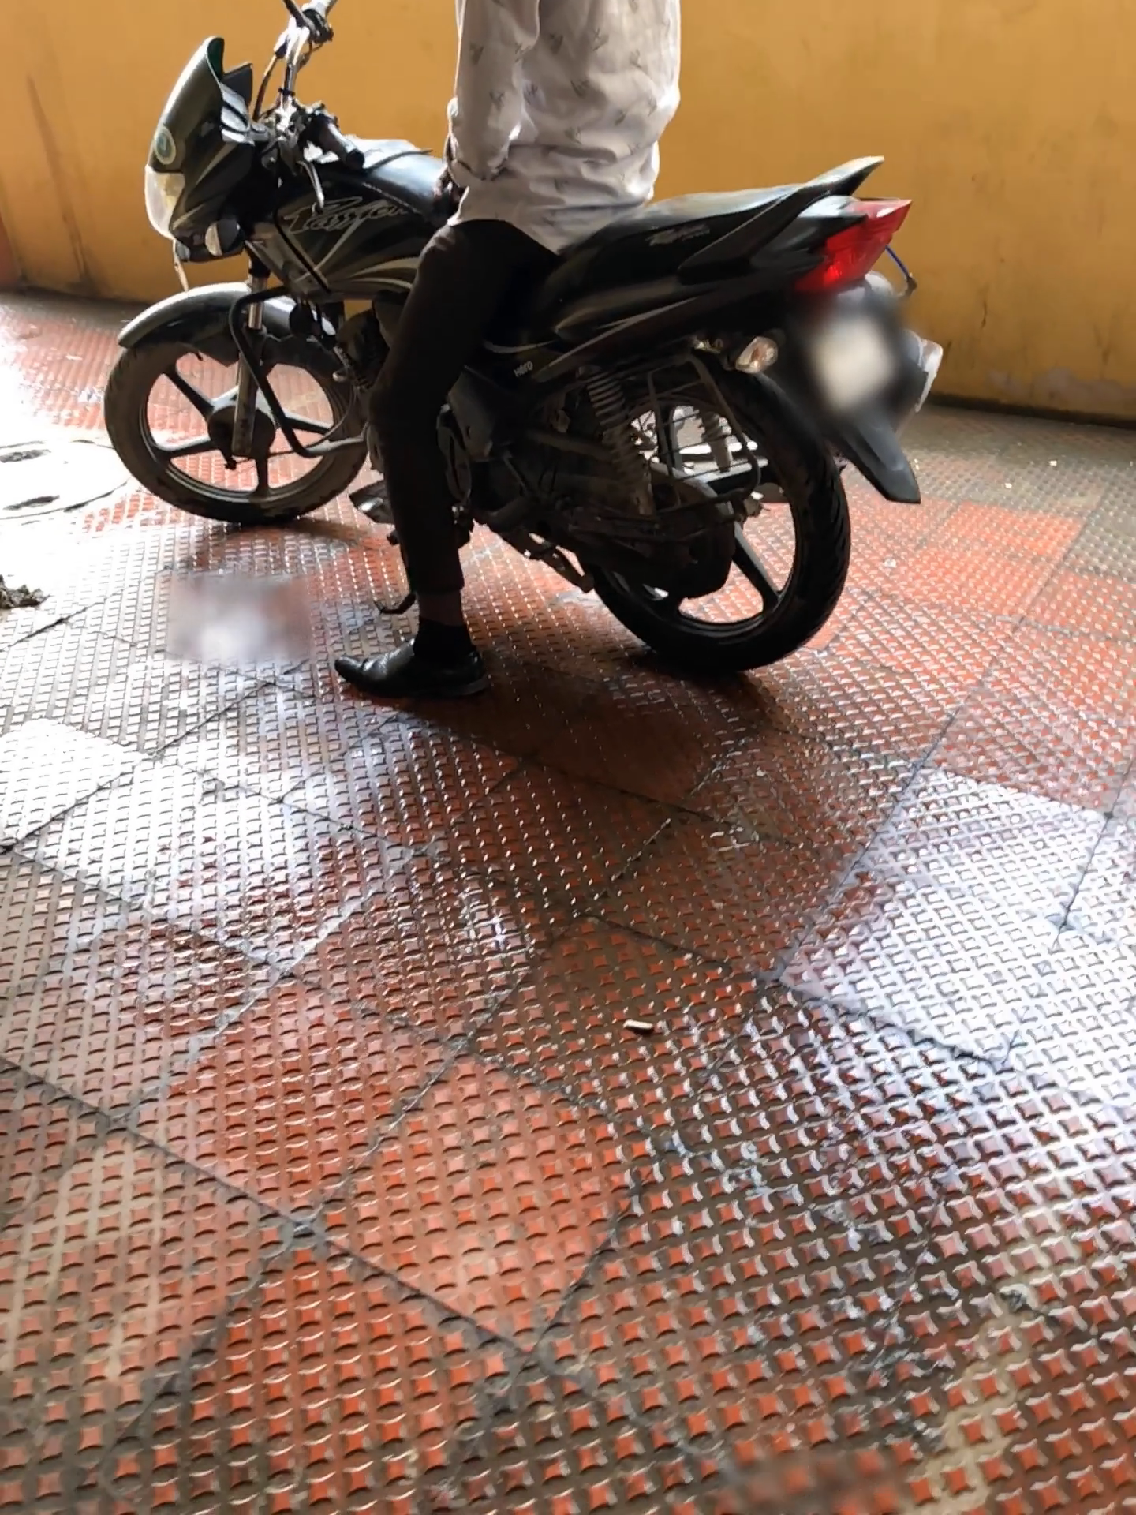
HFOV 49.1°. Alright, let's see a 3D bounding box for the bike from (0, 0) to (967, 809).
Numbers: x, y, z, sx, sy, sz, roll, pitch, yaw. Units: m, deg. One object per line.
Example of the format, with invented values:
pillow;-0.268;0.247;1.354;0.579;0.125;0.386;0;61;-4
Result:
bike;-0.393;-0.821;2.470;1.876;1.184;0.814;16;39;27
